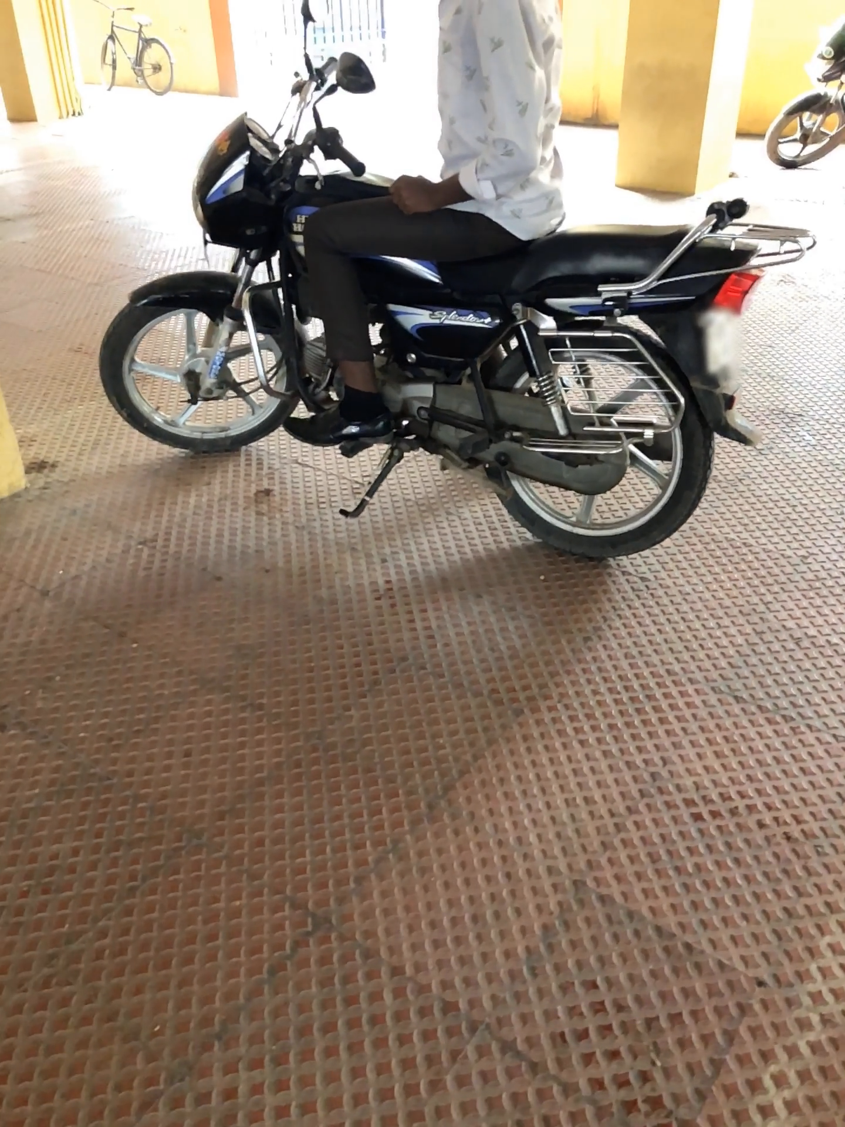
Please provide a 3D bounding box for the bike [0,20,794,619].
[{"bbox_3d":[-0.056,-0.711,2.412,1.705,1.107,0.688,13,35,18],"label":"bike"}]
